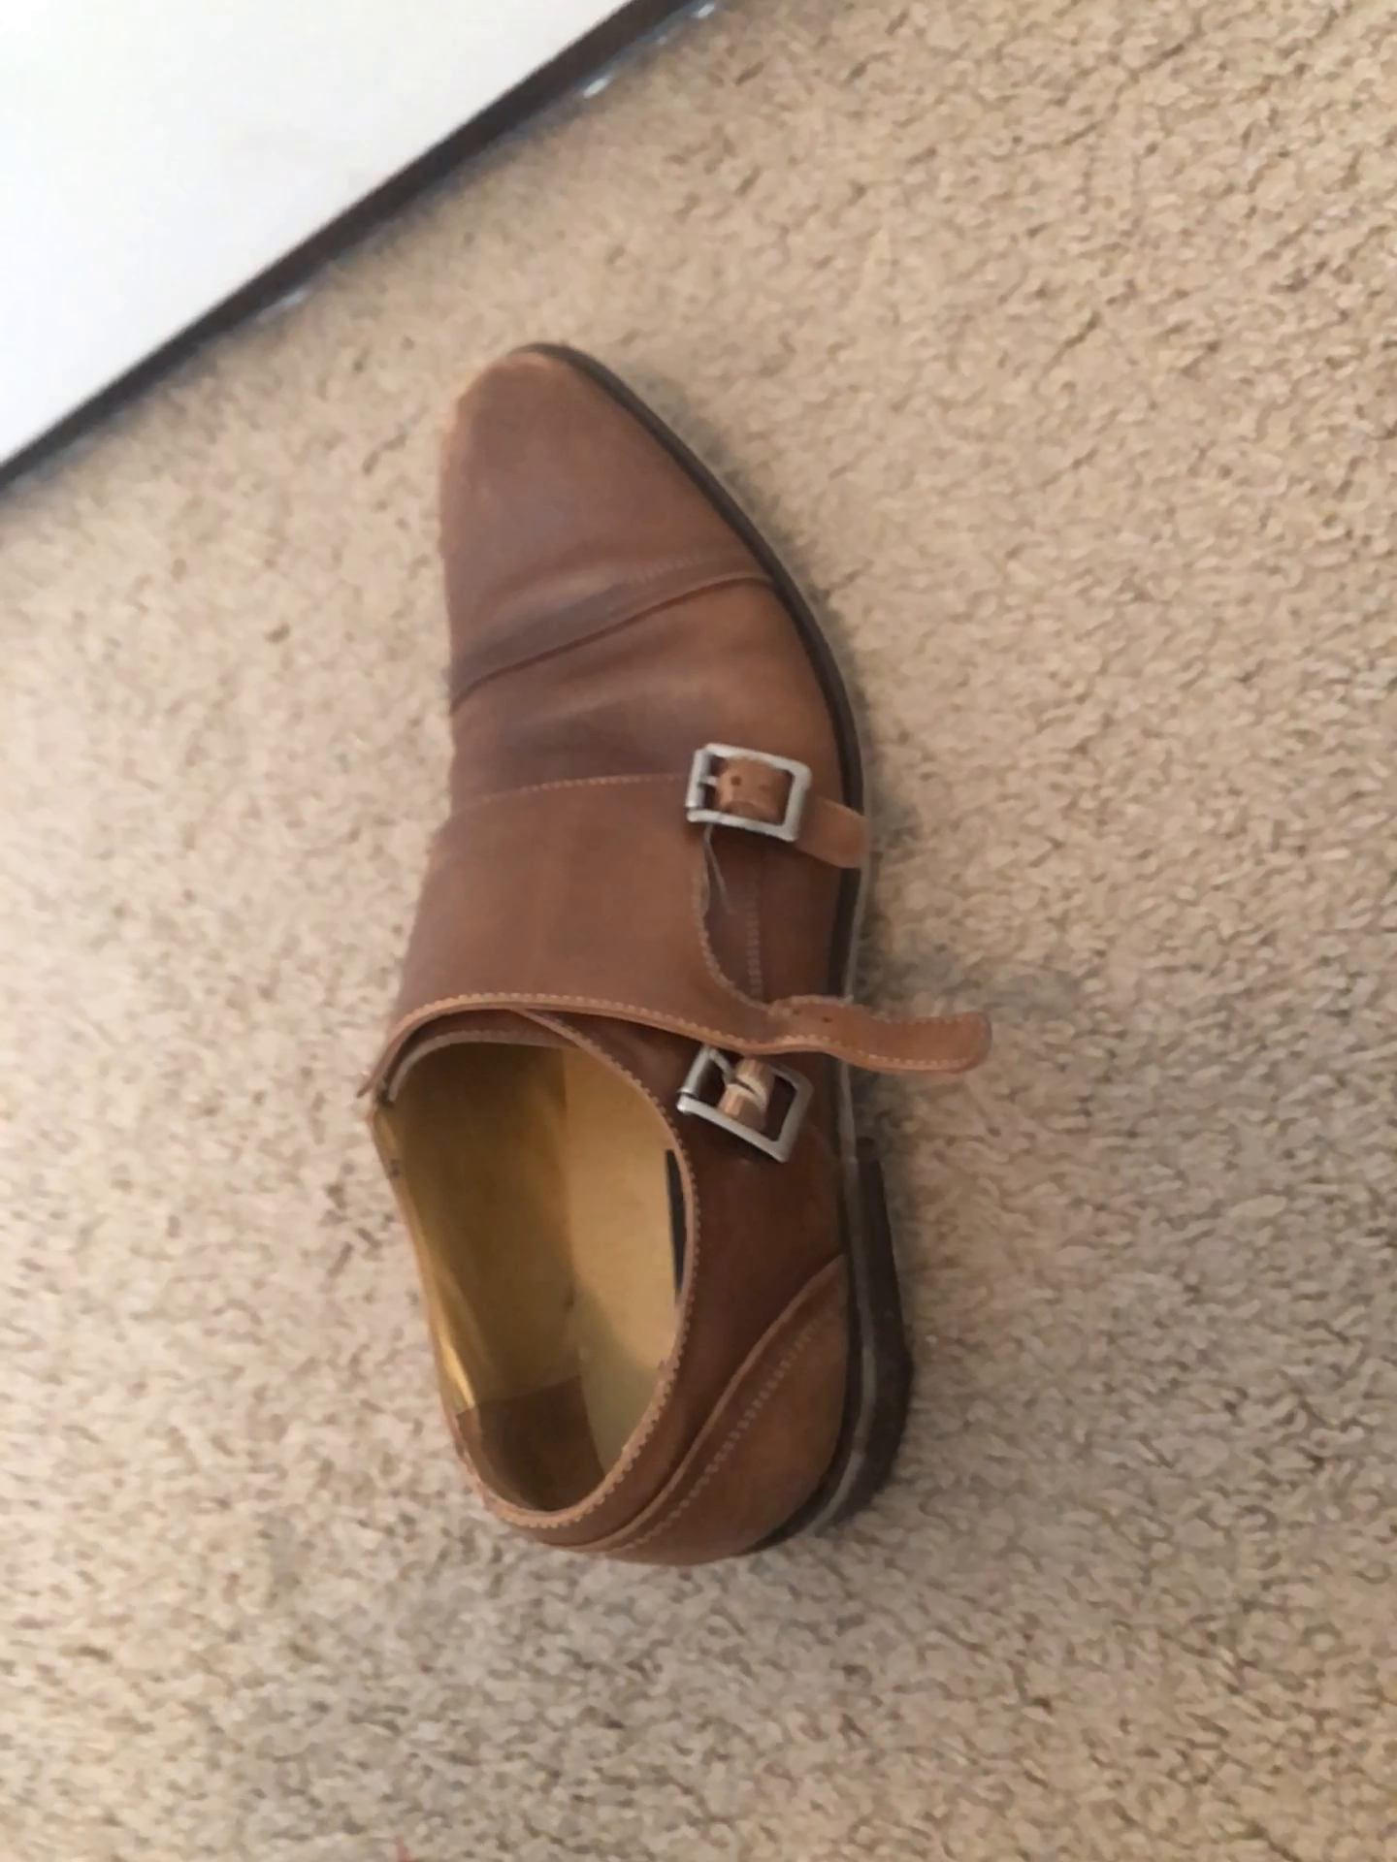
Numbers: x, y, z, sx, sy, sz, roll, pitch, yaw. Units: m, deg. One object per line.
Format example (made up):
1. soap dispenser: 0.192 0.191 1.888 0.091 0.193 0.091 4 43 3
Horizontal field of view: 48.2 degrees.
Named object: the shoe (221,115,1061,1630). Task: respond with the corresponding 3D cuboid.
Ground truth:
1. shoe: -0.017 -0.011 0.353 0.100 0.107 0.286 -19 73 29
